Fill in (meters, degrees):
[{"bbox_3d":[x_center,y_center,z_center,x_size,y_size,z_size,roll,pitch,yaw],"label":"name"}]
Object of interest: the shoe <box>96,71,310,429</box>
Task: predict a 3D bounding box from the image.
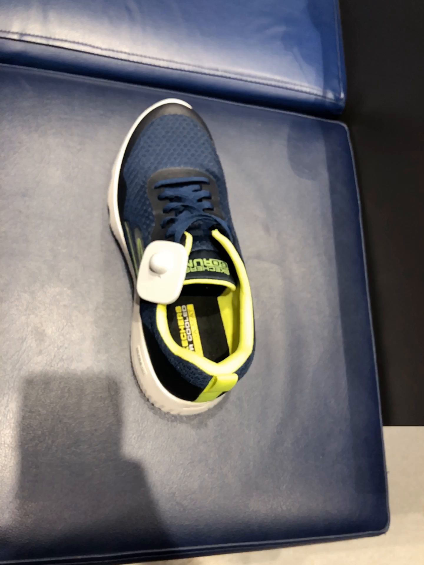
[{"bbox_3d":[-0.024,-0.020,0.396,0.114,0.132,0.255,-5,75,-17],"label":"shoe"}]
